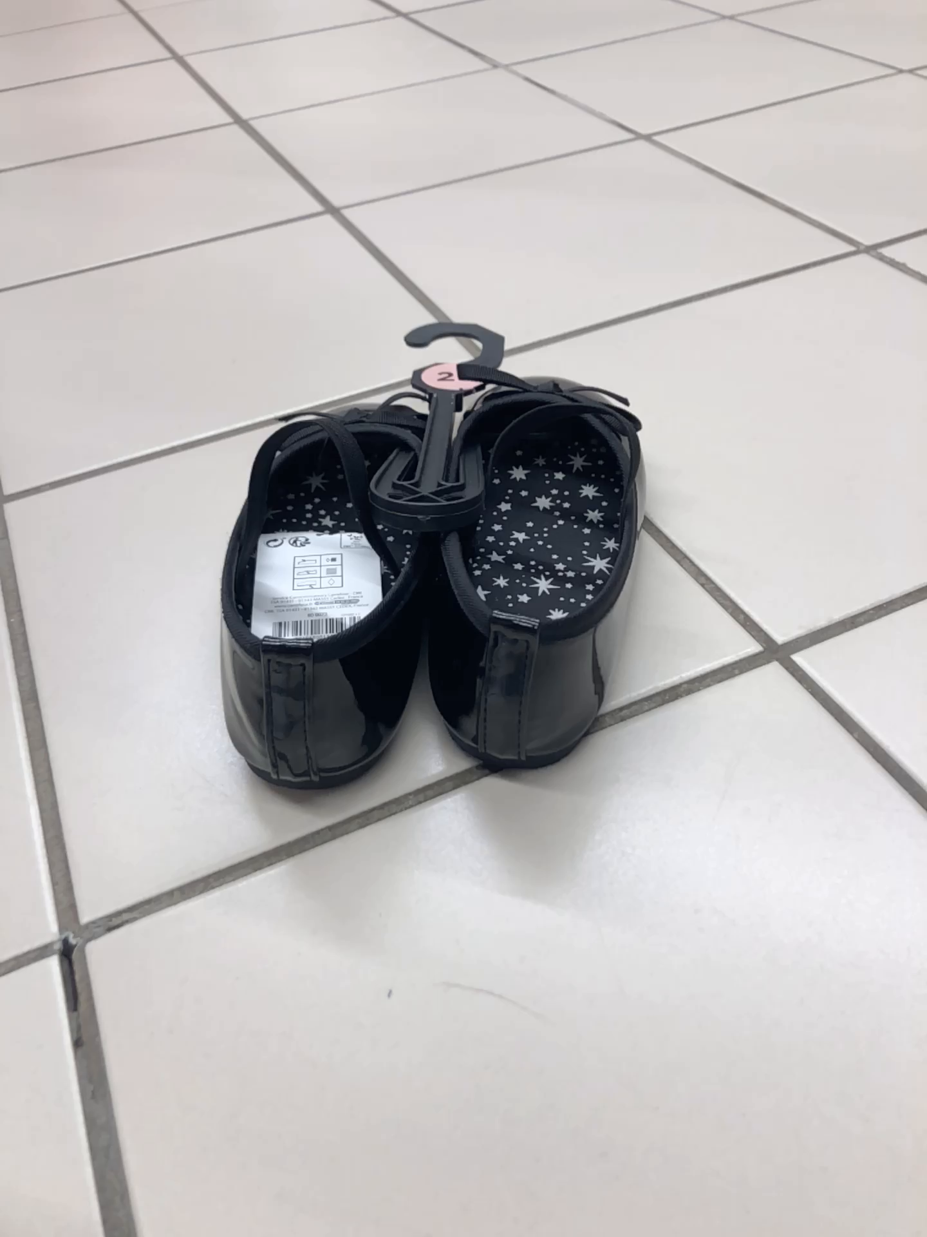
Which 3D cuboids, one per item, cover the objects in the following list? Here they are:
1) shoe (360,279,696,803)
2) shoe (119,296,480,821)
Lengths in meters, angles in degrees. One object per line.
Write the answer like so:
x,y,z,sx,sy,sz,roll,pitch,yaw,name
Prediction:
0.022,-0.034,0.305,0.072,0.059,0.174,-1,42,6,shoe
-0.034,-0.029,0.303,0.074,0.055,0.172,-3,42,3,shoe
